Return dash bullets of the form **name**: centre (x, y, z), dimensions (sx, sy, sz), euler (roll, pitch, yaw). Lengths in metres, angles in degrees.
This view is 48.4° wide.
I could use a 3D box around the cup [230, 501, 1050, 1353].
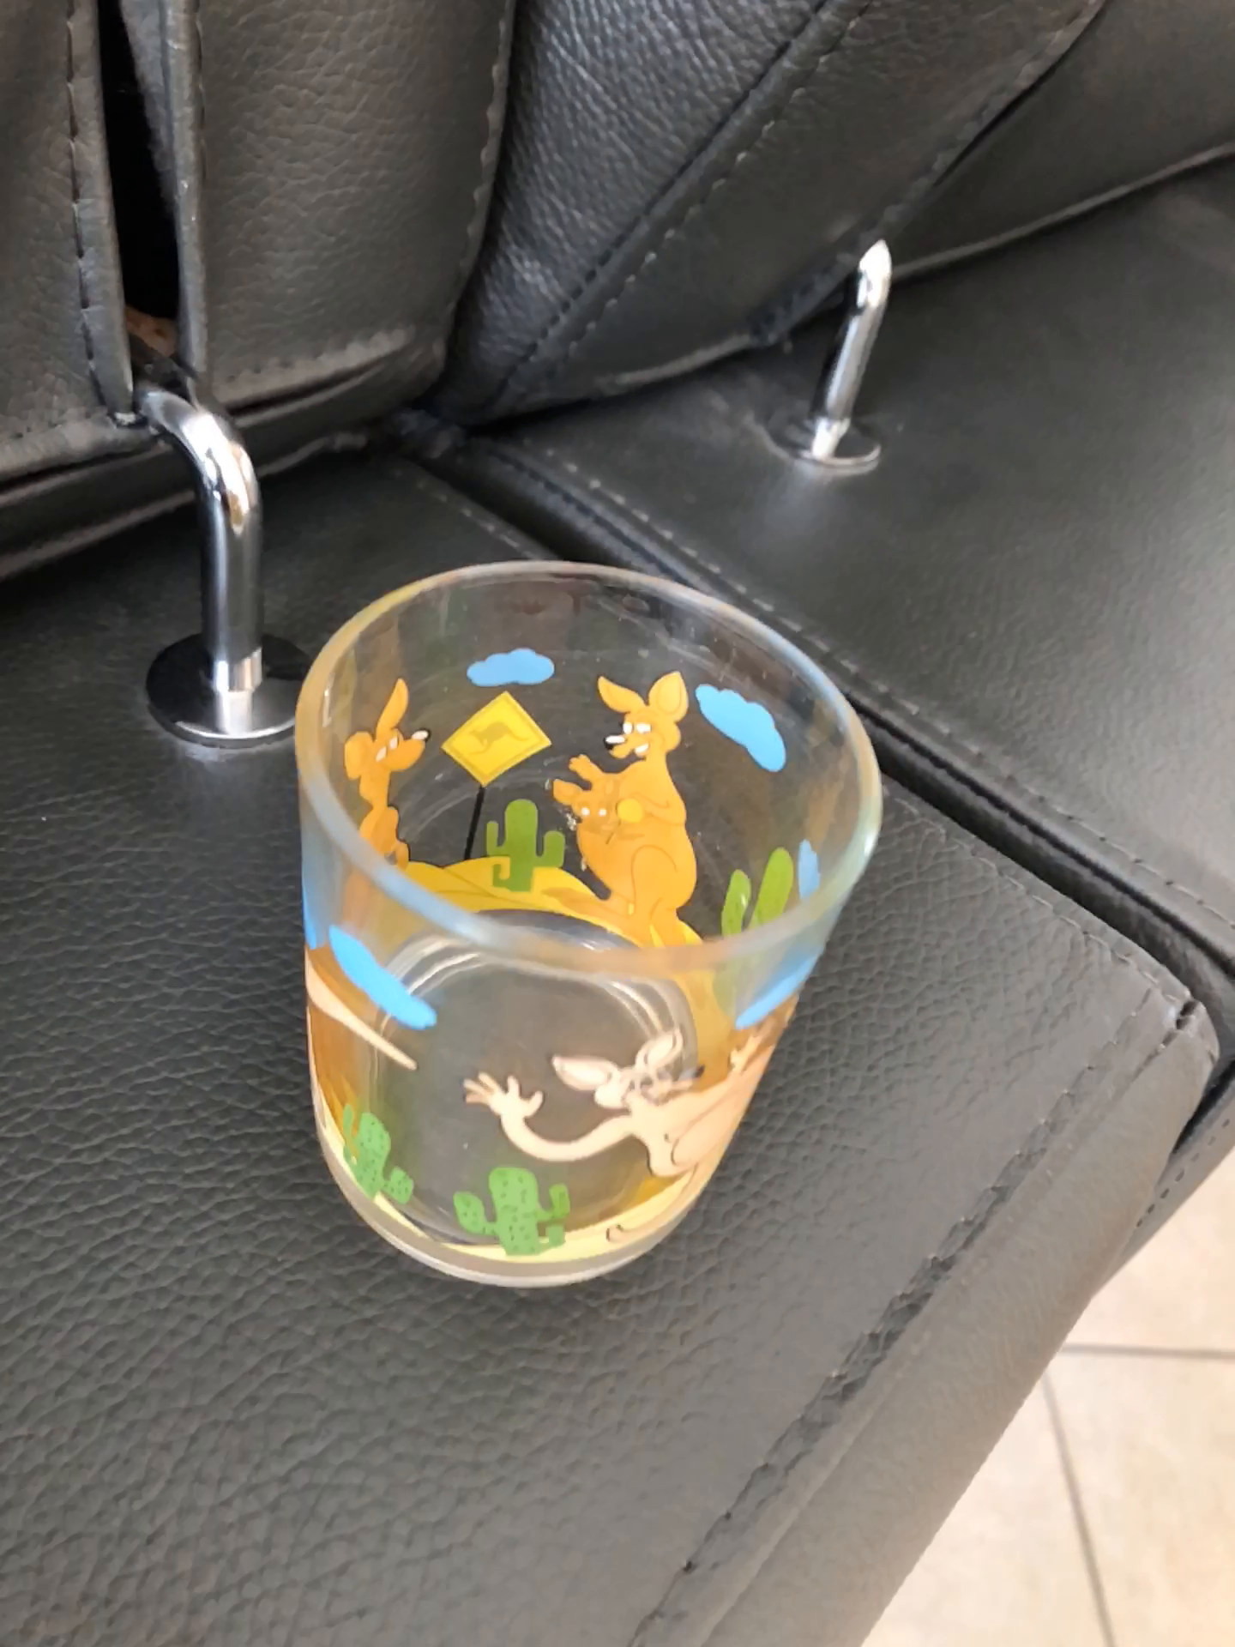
- **cup**: centre (-0.005, 0.012, 0.198), dimensions (0.080, 0.079, 0.070), euler (-14, 50, -27)
